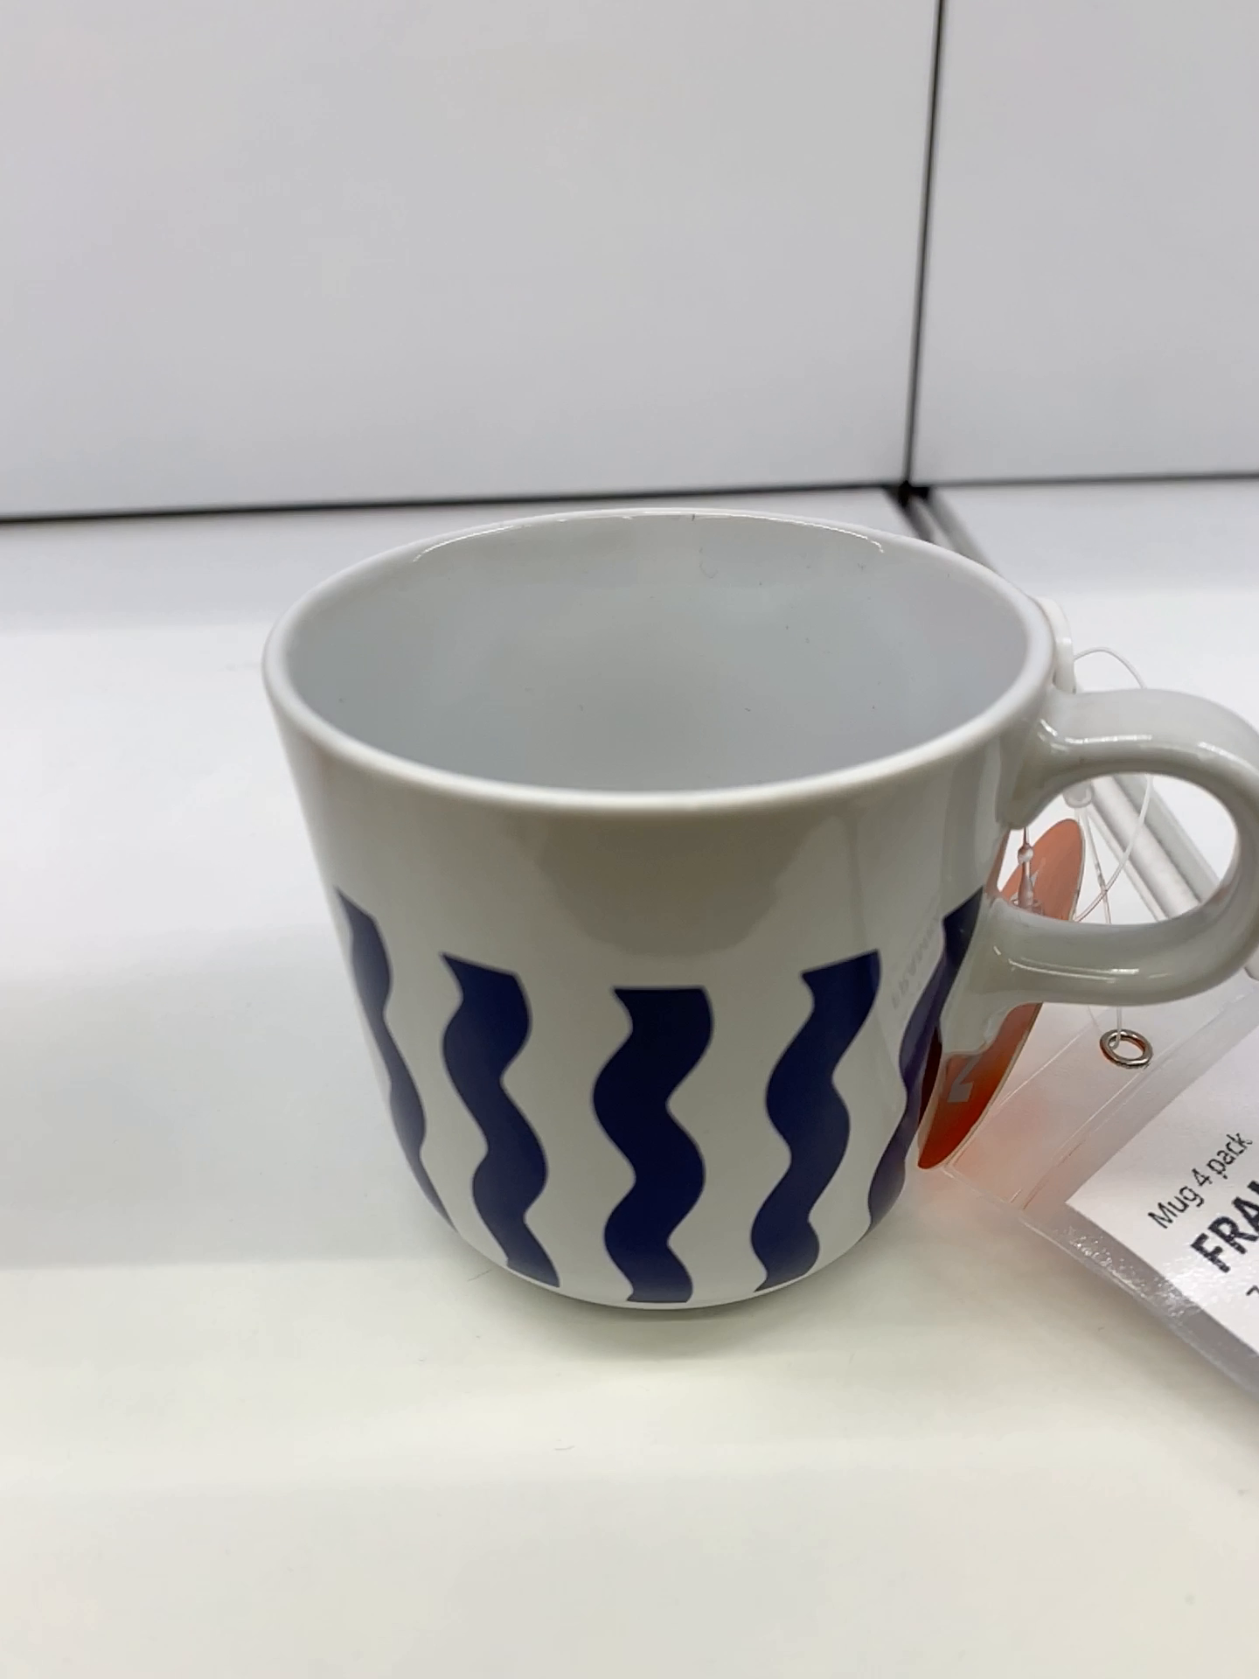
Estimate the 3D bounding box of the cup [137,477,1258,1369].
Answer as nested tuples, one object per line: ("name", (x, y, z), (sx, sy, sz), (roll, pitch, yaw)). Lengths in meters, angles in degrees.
("cup", (0.012, 0.005, 0.156), (0.101, 0.071, 0.076), (-2, 29, 0))
